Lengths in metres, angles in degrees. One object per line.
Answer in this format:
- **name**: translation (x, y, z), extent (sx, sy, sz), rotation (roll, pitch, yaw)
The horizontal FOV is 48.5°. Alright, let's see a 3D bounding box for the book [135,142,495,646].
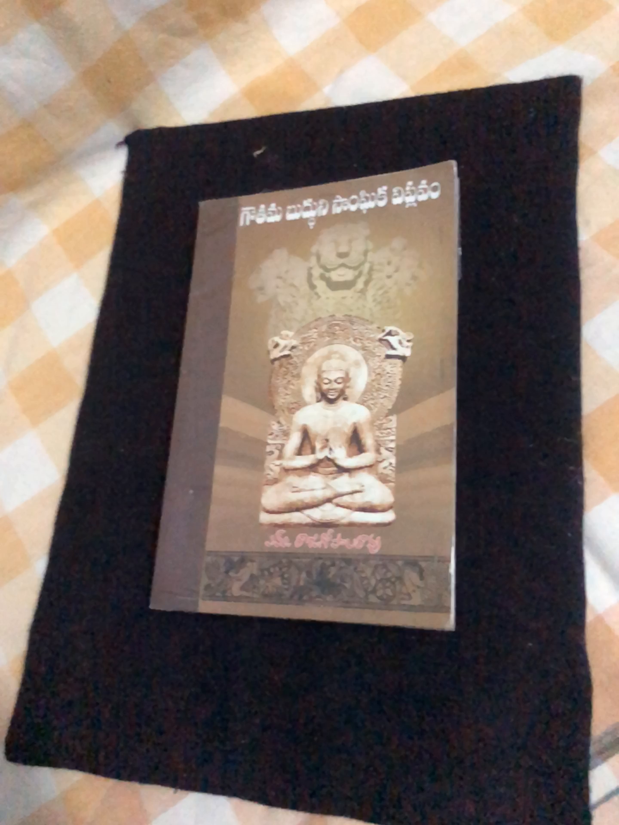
- **book**: translation (0.009, -0.018, 0.324), extent (0.150, 0.020, 0.230), rotation (0, 70, 17)
